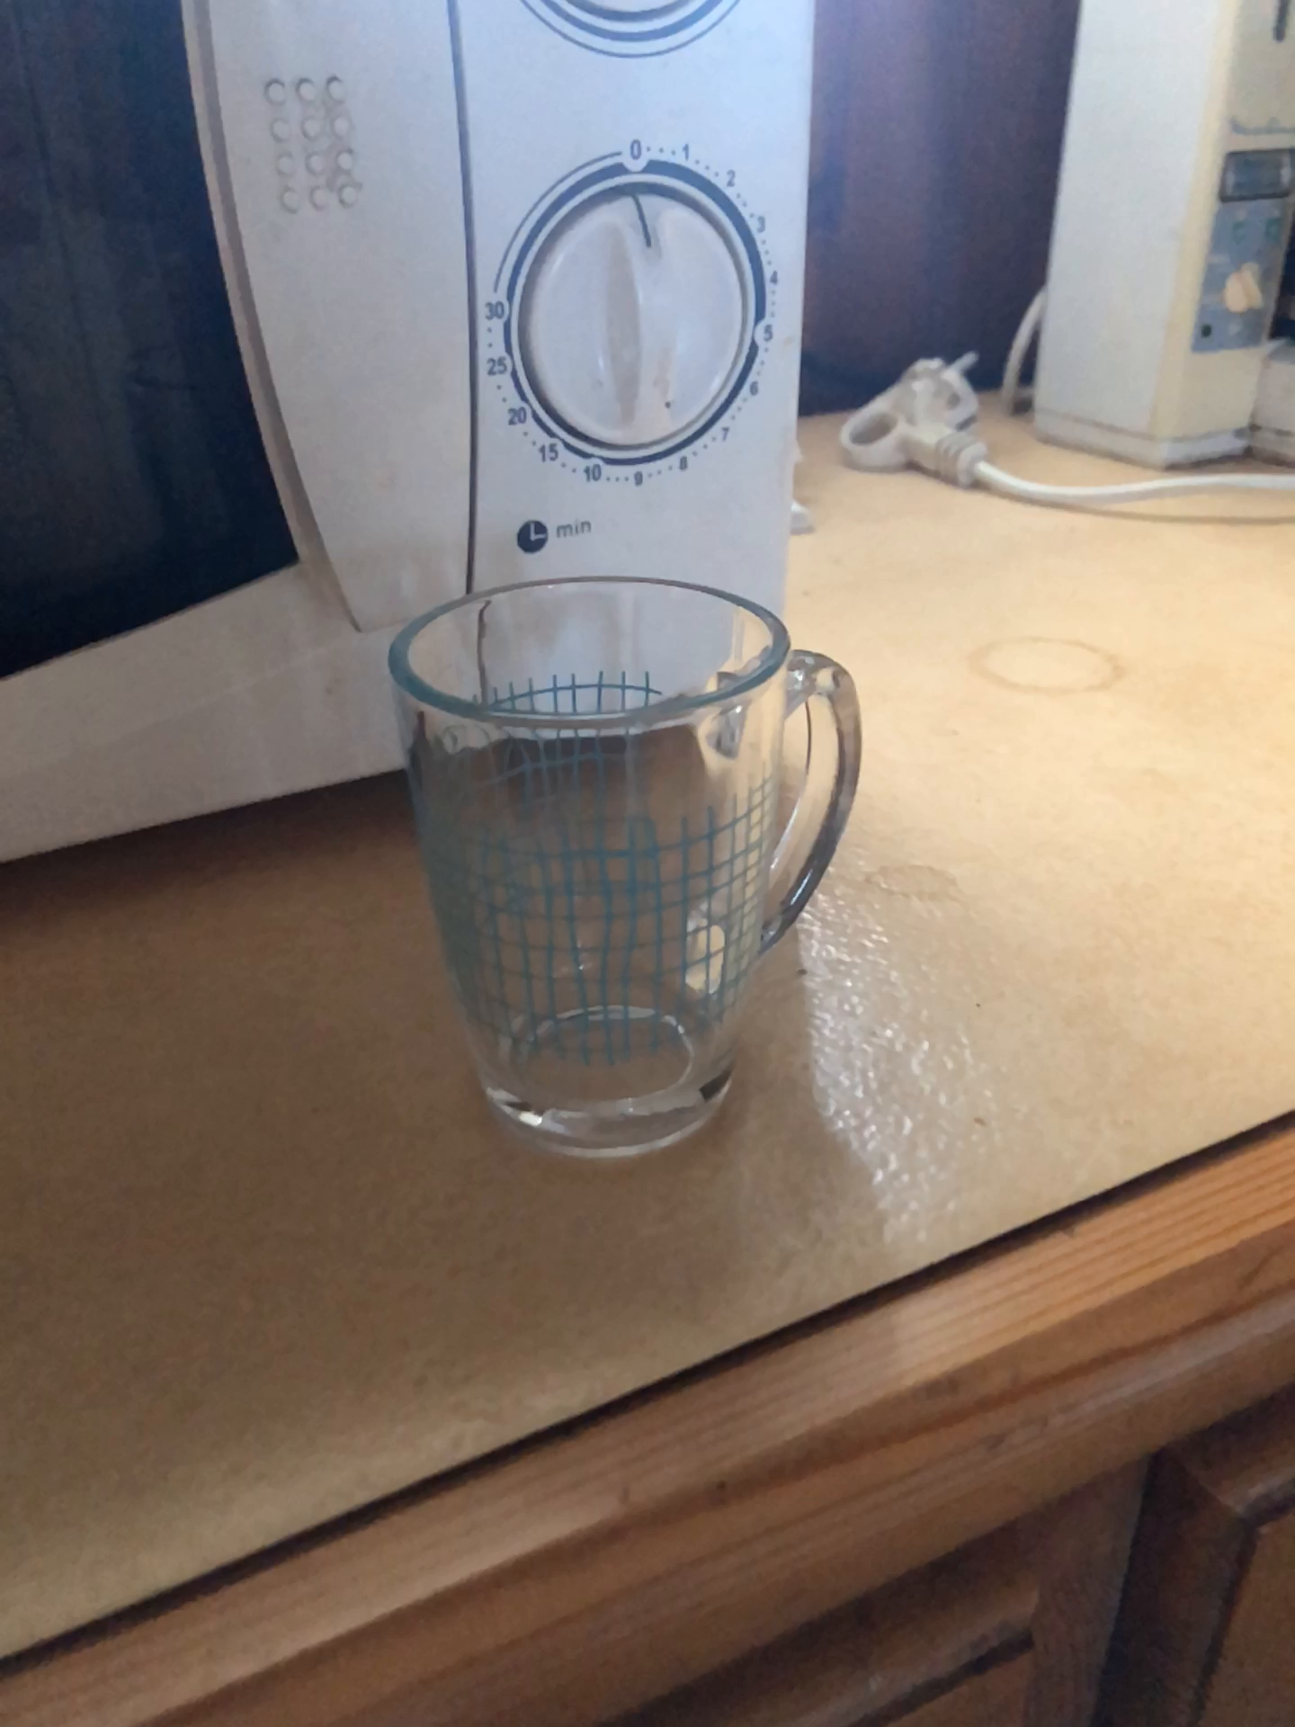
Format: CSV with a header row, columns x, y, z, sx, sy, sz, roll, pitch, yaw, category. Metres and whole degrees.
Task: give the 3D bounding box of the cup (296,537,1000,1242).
x,y,z,sx,sy,sz,roll,pitch,yaw,category
-0.001,-0.002,0.220,0.080,0.070,0.060,-16,33,-25,cup
